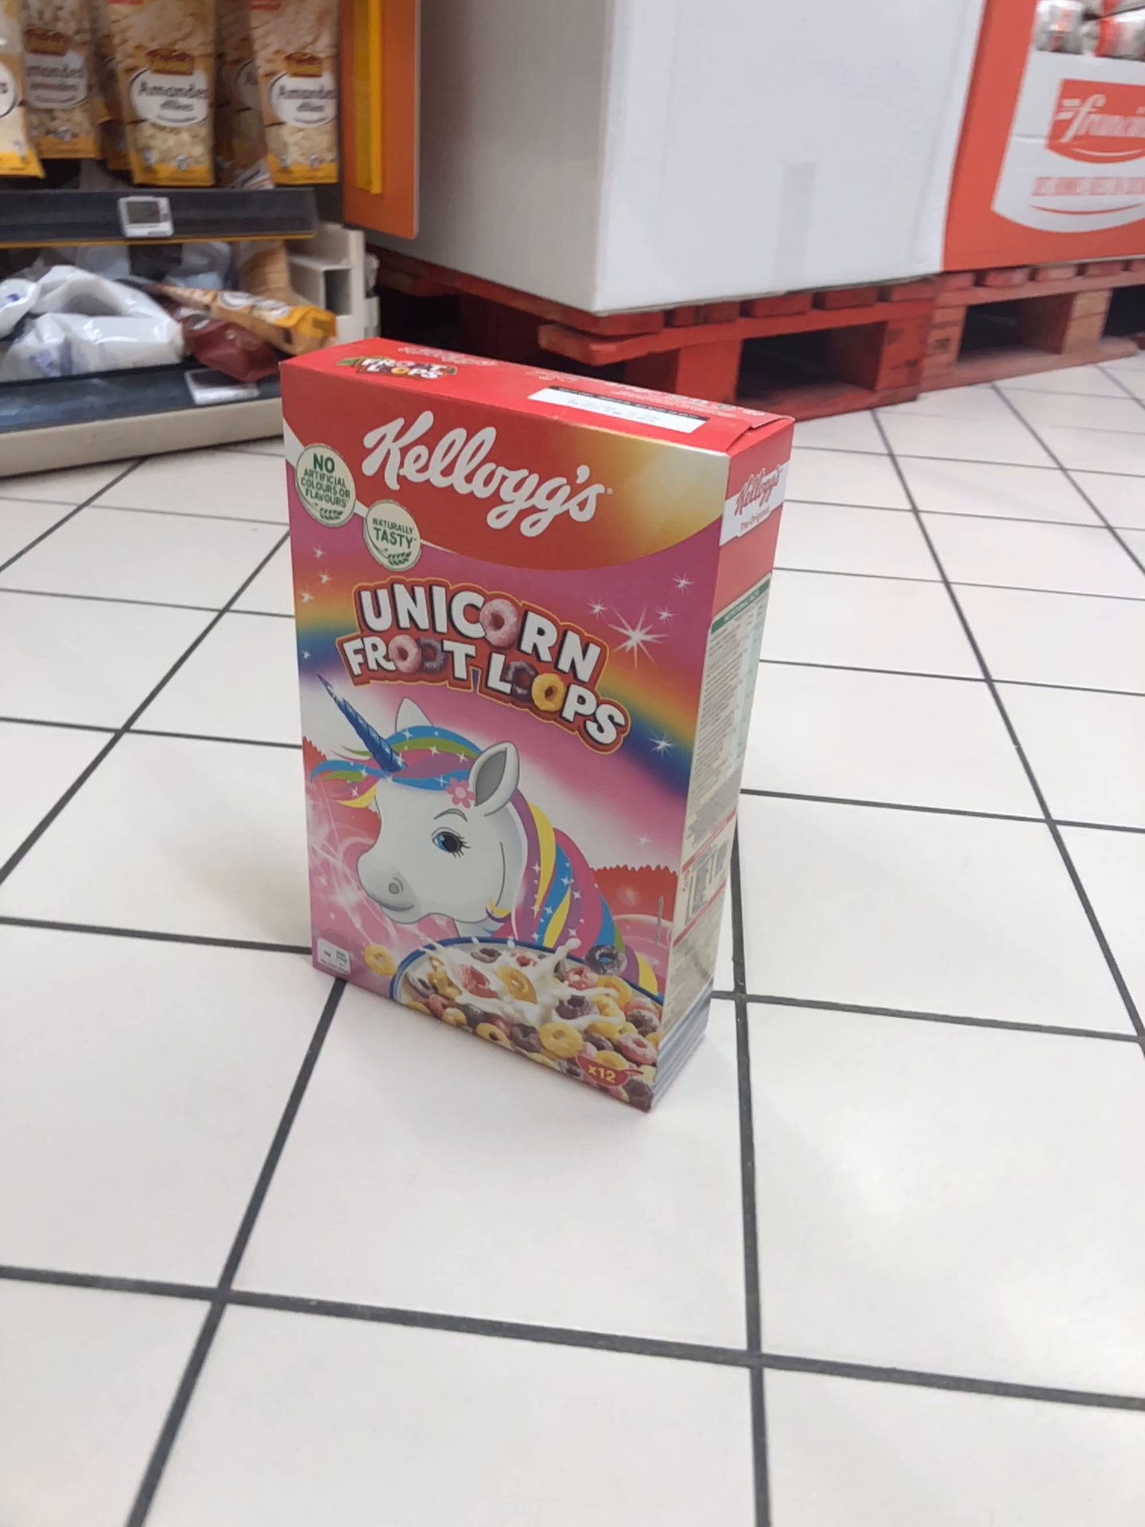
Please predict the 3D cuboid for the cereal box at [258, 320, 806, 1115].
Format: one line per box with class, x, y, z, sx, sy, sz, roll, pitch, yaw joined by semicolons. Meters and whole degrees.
cereal box;-0.027;-0.018;0.548;0.200;0.298;0.070;18;32;23
